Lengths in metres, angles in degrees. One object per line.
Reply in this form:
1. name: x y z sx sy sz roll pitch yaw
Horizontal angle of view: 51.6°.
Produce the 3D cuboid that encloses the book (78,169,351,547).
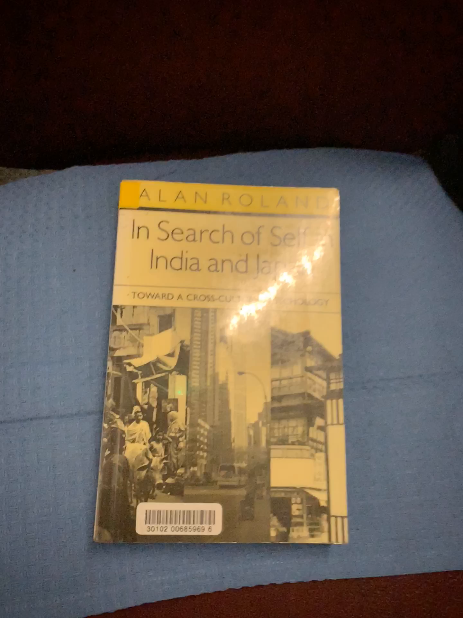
1. book: -0.007 0.025 0.314 0.155 0.032 0.232 2 77 -4
